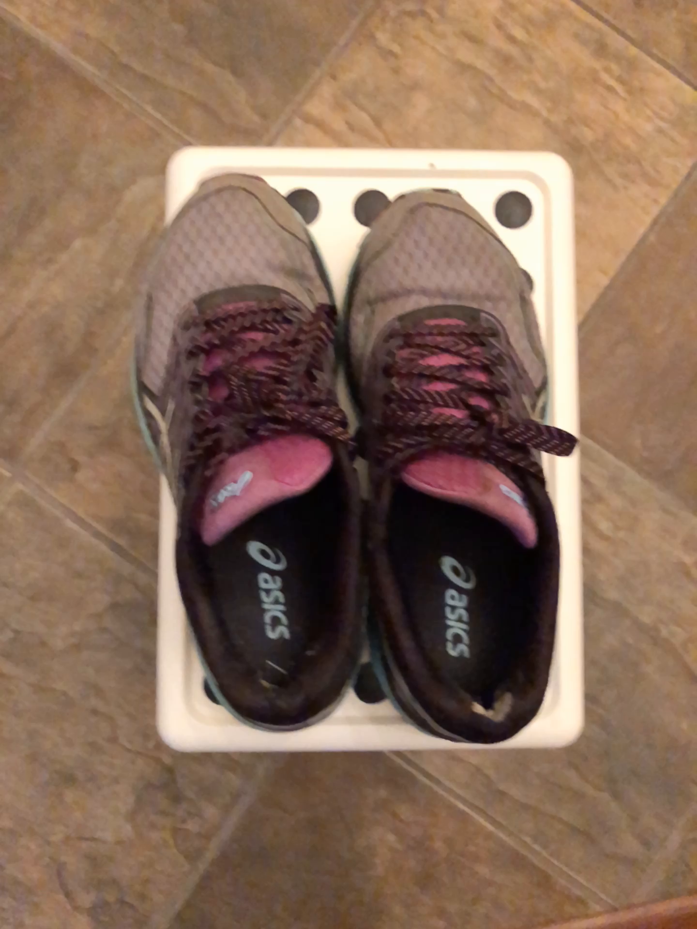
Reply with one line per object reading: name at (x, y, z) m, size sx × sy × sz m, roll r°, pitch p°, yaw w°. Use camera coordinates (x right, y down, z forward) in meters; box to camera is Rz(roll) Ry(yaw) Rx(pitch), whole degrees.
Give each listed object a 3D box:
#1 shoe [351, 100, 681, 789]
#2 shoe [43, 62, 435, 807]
shoe at (0.063, -0.008, 0.353) m, size 0.110 × 0.120 × 0.260 m, roll -2°, pitch 86°, yaw -1°
shoe at (-0.043, -0.012, 0.340) m, size 0.110 × 0.120 × 0.260 m, roll -8°, pitch 86°, yaw -2°
